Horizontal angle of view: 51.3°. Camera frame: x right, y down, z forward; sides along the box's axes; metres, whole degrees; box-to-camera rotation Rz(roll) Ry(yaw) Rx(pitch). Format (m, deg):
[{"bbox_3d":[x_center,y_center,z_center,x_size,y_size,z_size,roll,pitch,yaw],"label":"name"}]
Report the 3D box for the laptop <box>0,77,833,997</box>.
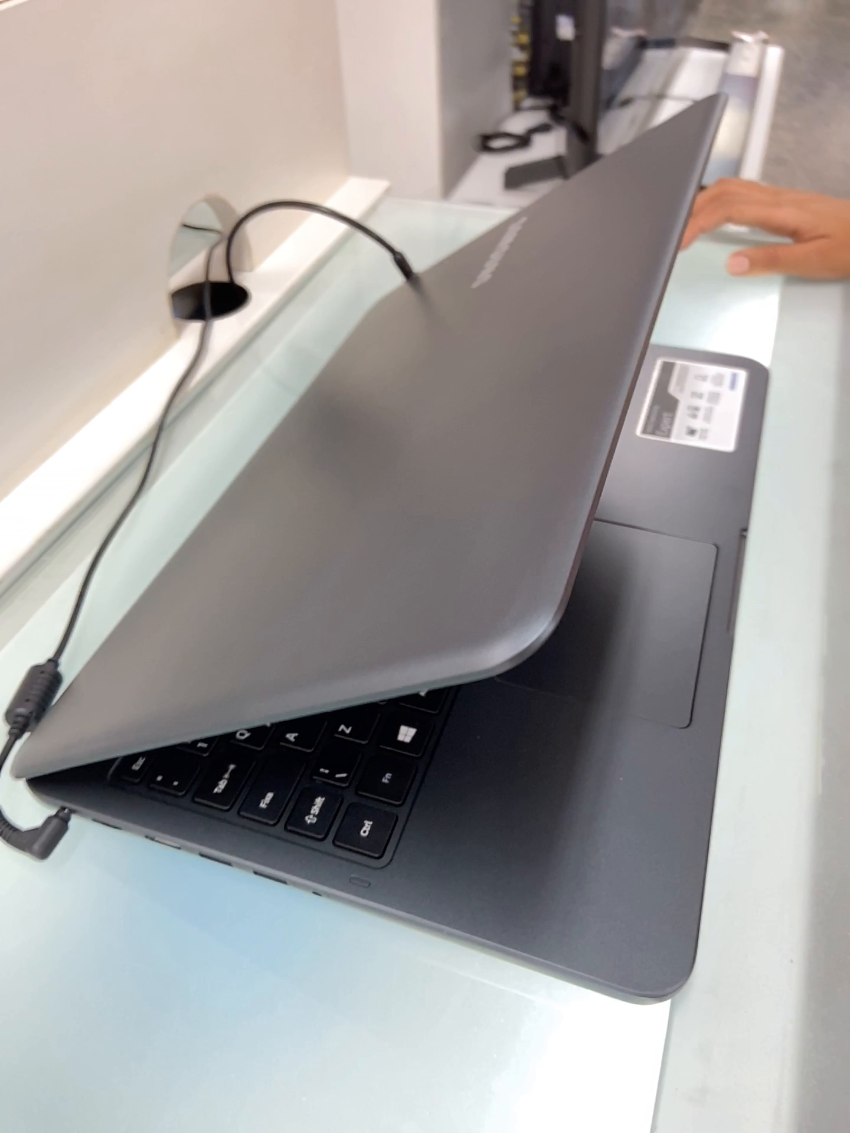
[{"bbox_3d":[0.025,-0.069,0.379,0.238,0.140,0.378,13,46,15],"label":"laptop"}]
